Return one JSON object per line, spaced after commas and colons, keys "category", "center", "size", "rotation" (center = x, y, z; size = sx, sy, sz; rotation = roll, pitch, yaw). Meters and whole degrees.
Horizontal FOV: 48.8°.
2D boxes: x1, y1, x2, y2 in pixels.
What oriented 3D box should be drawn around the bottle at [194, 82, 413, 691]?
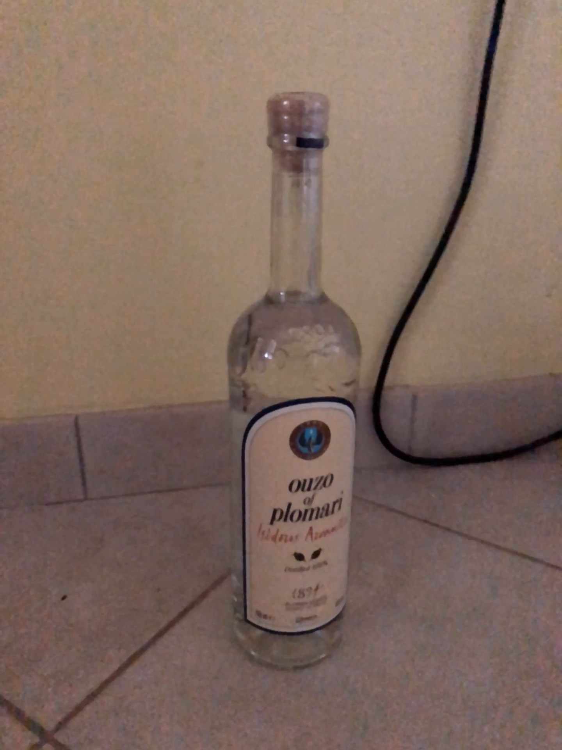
{"category": "bottle", "center": [0.004, 0.016, 0.344], "size": [0.080, 0.318, 0.080], "rotation": [0, 22, 0]}
